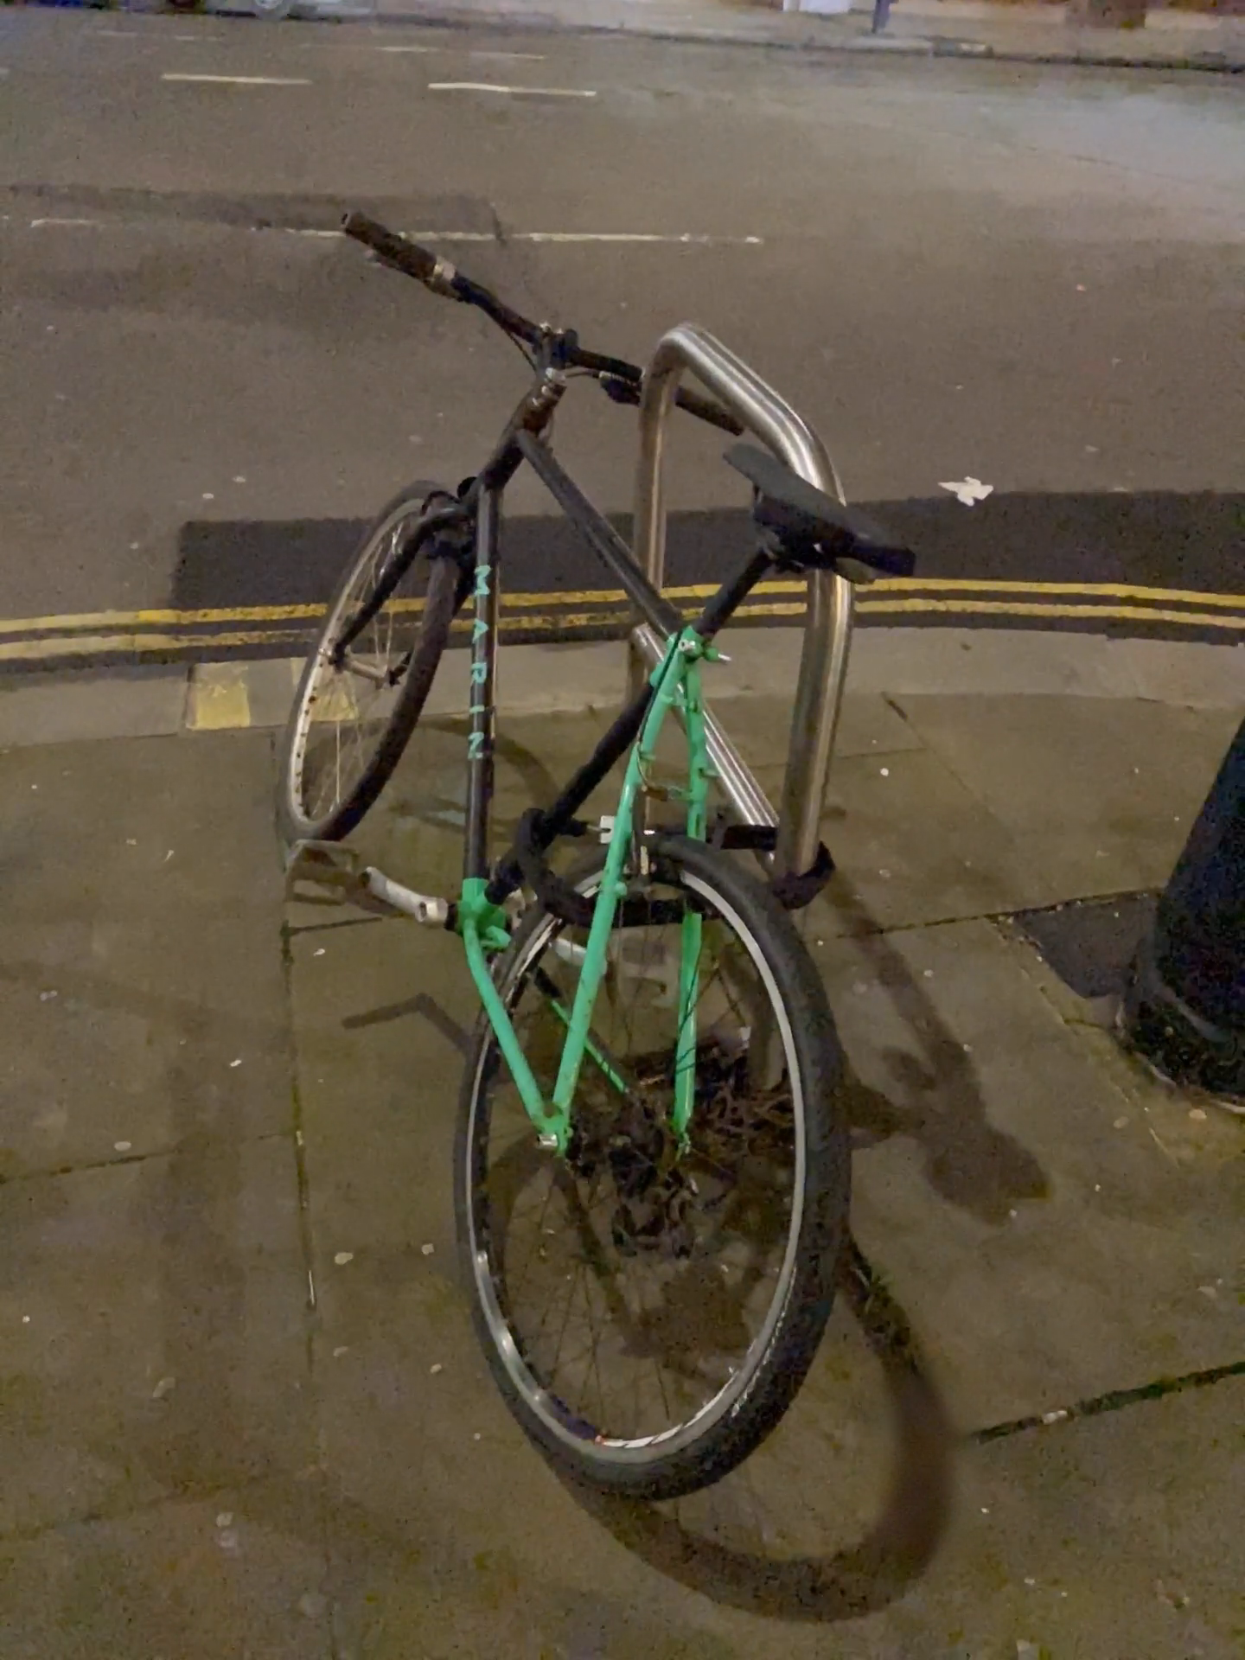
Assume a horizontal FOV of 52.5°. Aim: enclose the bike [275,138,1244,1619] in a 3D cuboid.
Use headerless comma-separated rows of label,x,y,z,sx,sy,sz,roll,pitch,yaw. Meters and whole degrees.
bike,0.061,-0.195,1.666,0.639,1.013,1.695,-12,39,-18
